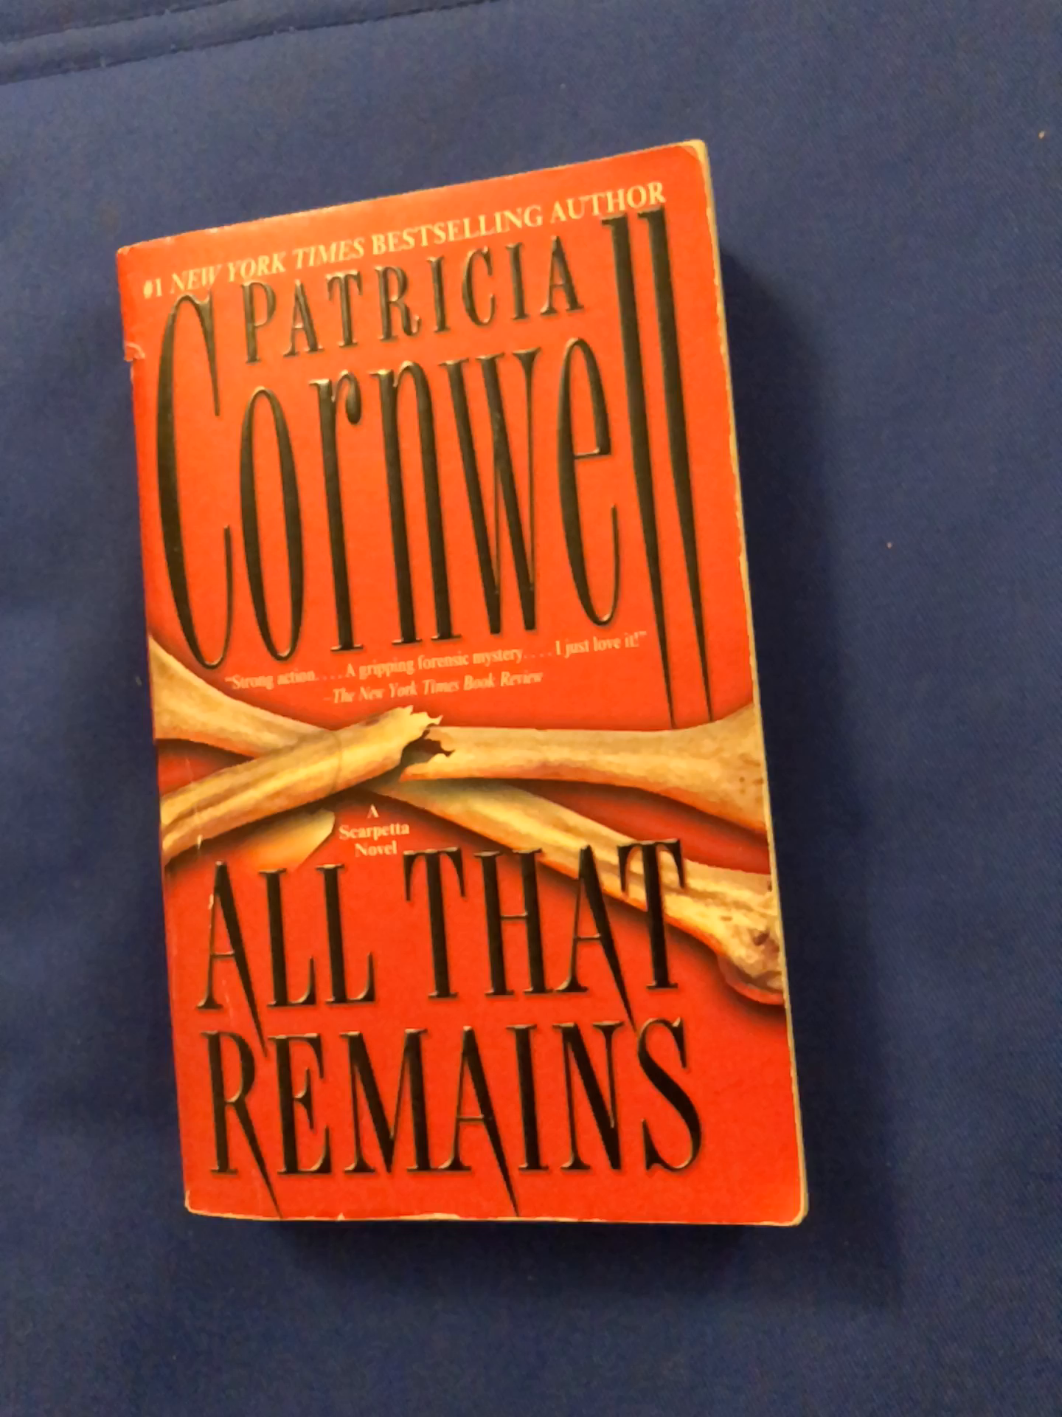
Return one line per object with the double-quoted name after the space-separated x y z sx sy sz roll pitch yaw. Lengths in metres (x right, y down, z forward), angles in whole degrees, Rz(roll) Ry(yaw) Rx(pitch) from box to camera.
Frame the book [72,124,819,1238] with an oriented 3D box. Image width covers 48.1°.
-0.015 -0.001 0.202 0.110 0.030 0.166 -5 86 11 "book"
